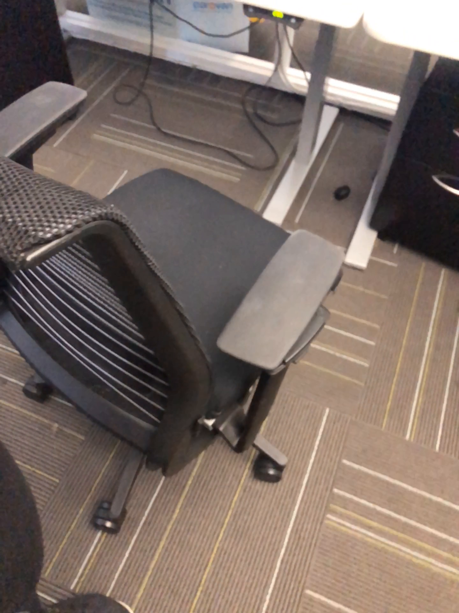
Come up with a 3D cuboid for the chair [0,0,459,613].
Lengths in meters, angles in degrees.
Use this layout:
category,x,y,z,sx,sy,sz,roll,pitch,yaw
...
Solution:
category,x,y,z,sx,sy,sz,roll,pitch,yaw
chair,-0.171,-0.067,0.883,0.751,0.997,0.661,32,59,19
